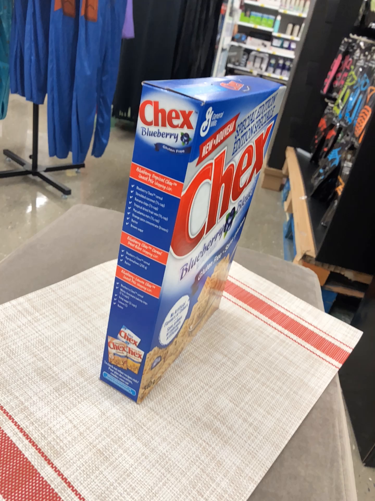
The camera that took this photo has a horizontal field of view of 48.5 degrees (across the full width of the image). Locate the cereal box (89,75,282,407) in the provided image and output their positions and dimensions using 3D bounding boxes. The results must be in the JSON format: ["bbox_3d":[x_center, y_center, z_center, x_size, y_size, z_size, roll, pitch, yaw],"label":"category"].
[{"bbox_3d":[0.001,-0.021,0.391,0.050,0.259,0.201,23,30,18],"label":"cereal box"}]
